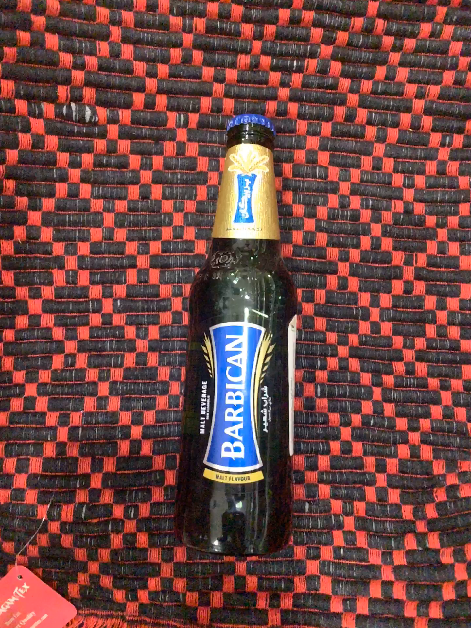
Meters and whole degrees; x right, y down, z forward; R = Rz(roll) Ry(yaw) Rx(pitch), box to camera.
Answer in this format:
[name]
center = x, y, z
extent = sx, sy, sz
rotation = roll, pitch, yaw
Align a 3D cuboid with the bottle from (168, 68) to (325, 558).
[bottle]
center = 0.005, -0.003, 0.238
extent = 0.060, 0.060, 0.210
rotation = 3, 80, -5
